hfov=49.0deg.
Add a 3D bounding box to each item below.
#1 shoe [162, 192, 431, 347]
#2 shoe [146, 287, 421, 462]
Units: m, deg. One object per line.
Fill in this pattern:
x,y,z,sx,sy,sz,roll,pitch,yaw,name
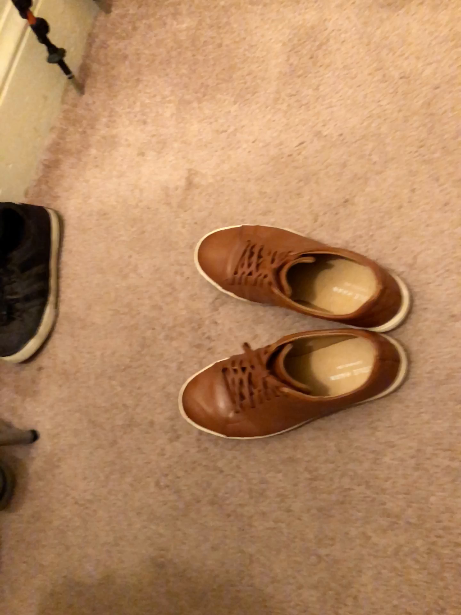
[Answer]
0.073,-0.052,0.612,0.285,0.103,0.117,14,86,31,shoe
0.053,0.090,0.591,0.285,0.100,0.117,-21,69,24,shoe
